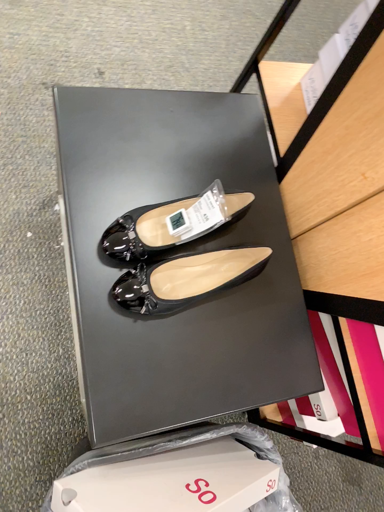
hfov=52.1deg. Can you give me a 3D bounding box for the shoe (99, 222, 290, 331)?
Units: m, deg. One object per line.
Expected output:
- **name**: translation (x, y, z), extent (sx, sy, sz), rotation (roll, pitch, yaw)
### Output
- **shoe**: translation (0.002, 0.030, 0.582), extent (0.250, 0.100, 0.090), rotation (-13, 80, -20)

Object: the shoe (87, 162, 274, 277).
- **shoe**: translation (-0.019, -0.056, 0.596), extent (0.250, 0.100, 0.090), rotation (-17, 82, -21)
